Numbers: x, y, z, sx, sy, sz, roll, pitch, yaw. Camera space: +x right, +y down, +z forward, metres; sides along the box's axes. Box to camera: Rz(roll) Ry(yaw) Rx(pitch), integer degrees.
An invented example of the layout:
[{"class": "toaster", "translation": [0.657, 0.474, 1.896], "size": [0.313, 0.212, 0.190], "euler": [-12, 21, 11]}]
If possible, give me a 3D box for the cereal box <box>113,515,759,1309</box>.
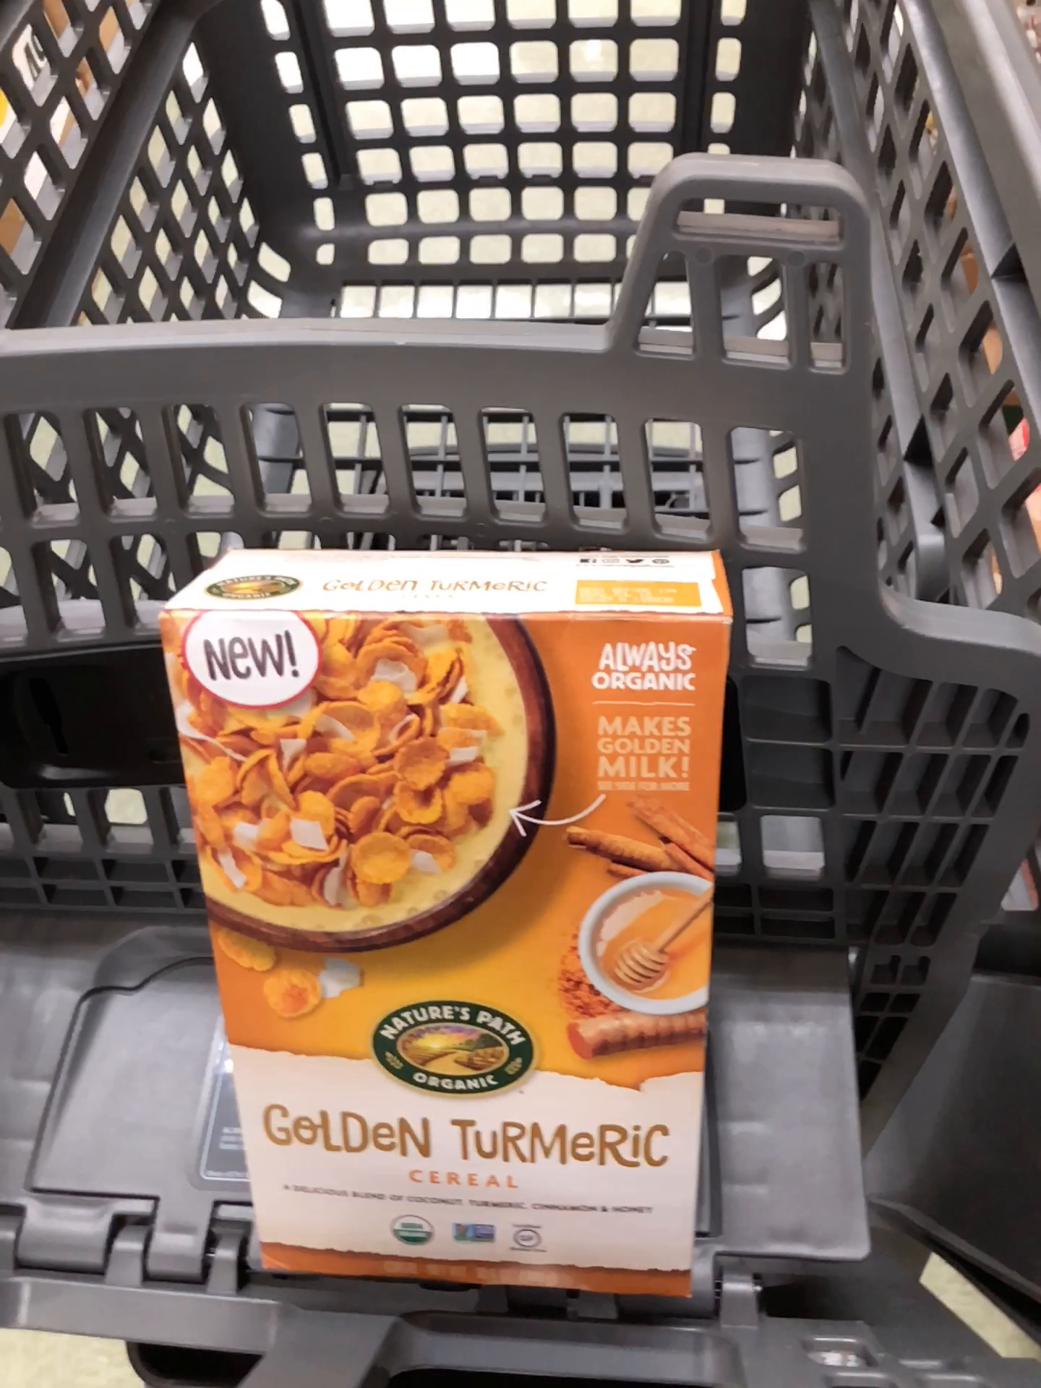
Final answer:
[{"class": "cereal box", "translation": [-0.021, 0.079, 0.400], "size": [0.180, 0.270, 0.070], "euler": [1, 22, 5]}]
